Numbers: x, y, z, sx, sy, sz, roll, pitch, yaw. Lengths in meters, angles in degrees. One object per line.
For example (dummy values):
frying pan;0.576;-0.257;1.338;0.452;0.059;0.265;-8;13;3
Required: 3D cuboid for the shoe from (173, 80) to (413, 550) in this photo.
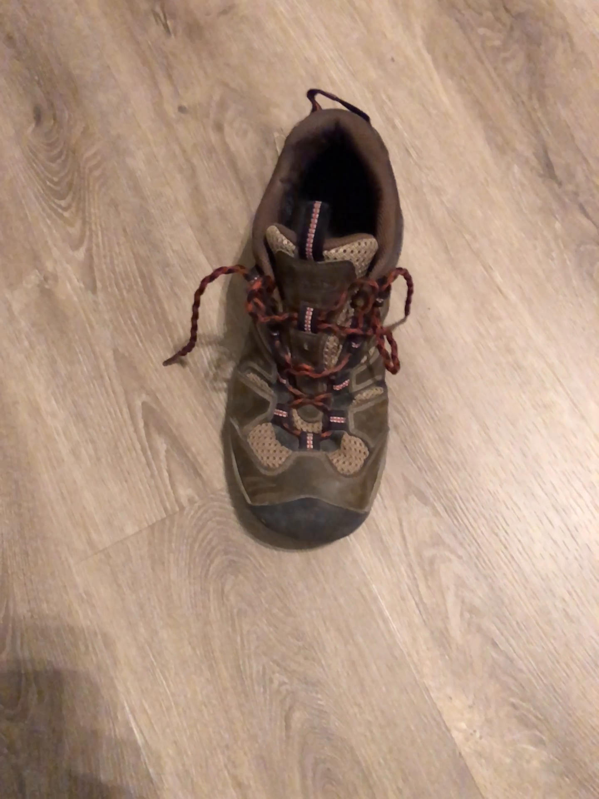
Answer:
shoe;0.007;-0.051;0.416;0.110;0.100;0.270;3;74;7
